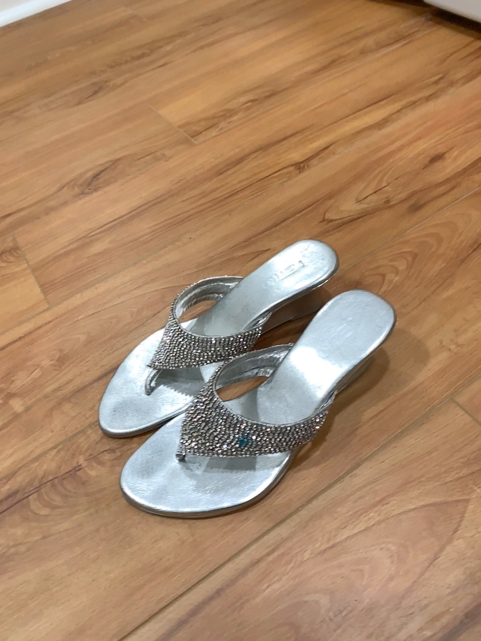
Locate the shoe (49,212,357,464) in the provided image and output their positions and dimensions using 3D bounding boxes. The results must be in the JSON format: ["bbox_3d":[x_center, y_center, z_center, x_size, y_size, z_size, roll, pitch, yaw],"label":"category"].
[{"bbox_3d":[-0.024,0.008,0.408,0.228,0.073,0.086,-29,51,-13],"label":"shoe"}]

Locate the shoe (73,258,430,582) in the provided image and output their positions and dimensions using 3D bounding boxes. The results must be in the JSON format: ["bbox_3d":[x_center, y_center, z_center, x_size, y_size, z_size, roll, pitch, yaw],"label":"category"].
[{"bbox_3d":[0.014,0.061,0.357,0.228,0.073,0.096,-33,52,-16],"label":"shoe"}]
